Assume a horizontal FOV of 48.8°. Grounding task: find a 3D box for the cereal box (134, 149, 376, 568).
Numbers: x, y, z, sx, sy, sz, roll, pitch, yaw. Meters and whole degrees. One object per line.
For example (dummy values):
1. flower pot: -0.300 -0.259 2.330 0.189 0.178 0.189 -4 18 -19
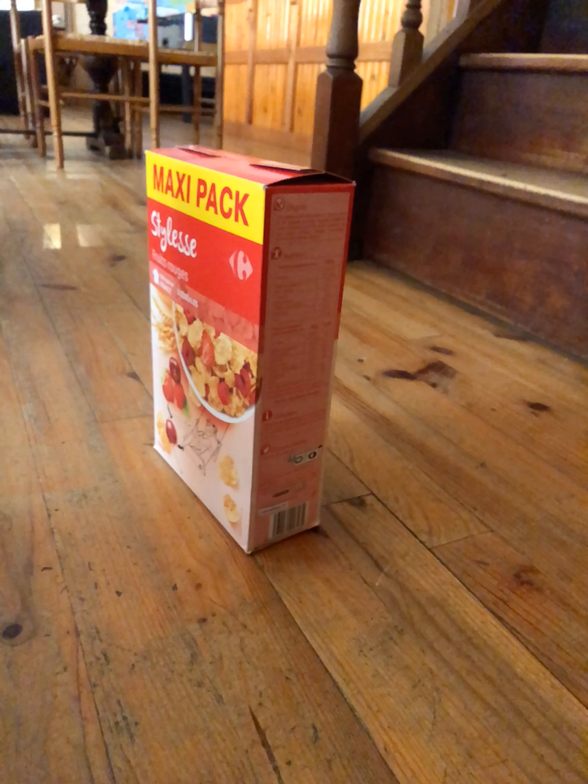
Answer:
1. cereal box: -0.051 -0.041 0.553 0.090 0.288 0.210 -12 29 -32
